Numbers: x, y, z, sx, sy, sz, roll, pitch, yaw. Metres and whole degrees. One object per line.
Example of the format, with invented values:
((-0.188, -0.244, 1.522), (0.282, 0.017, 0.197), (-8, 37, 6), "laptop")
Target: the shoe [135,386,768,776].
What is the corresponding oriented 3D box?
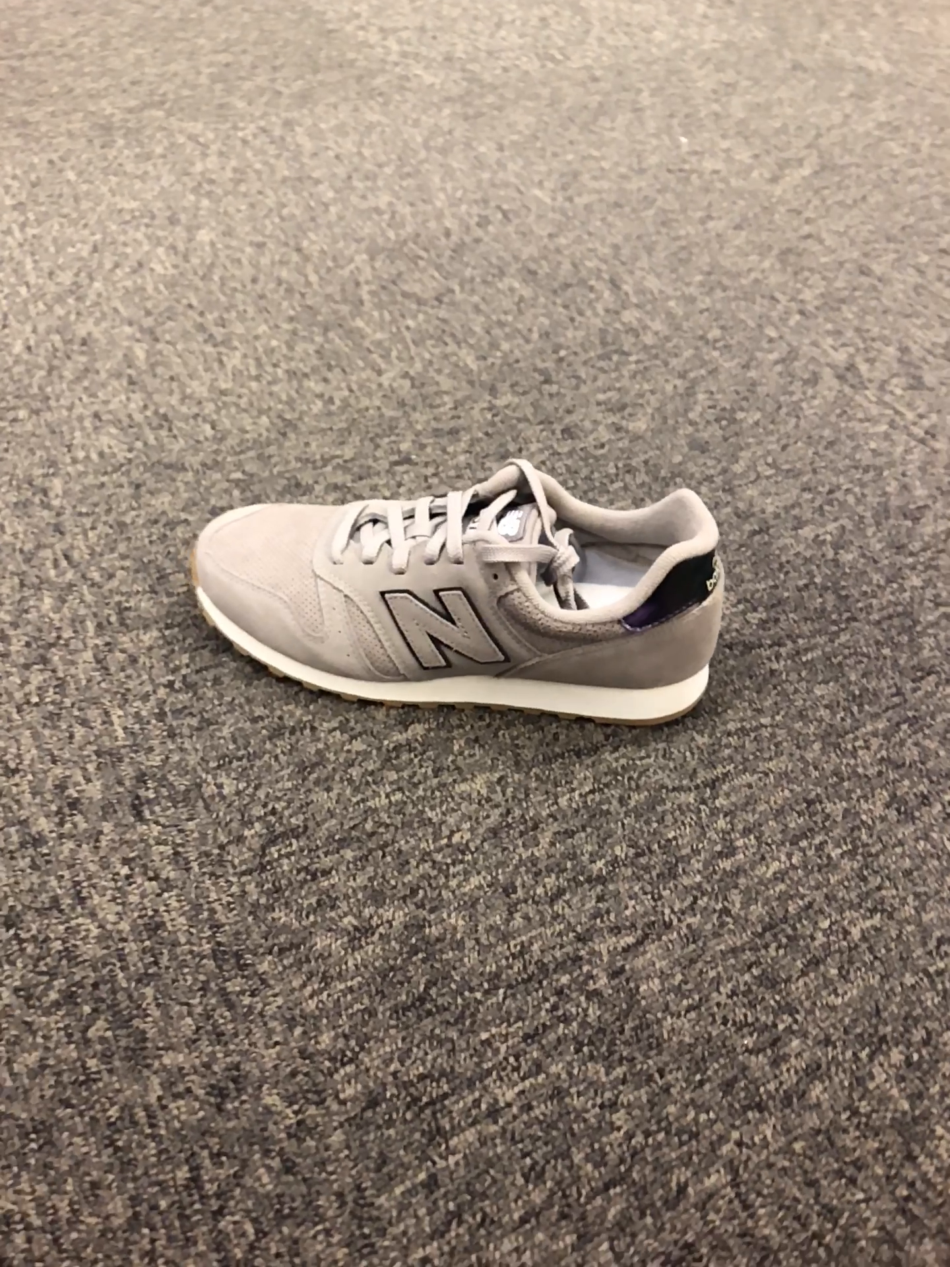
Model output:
((-0.007, -0.026, 0.497), (0.260, 0.109, 0.101), (9, 45, 5), "shoe")
